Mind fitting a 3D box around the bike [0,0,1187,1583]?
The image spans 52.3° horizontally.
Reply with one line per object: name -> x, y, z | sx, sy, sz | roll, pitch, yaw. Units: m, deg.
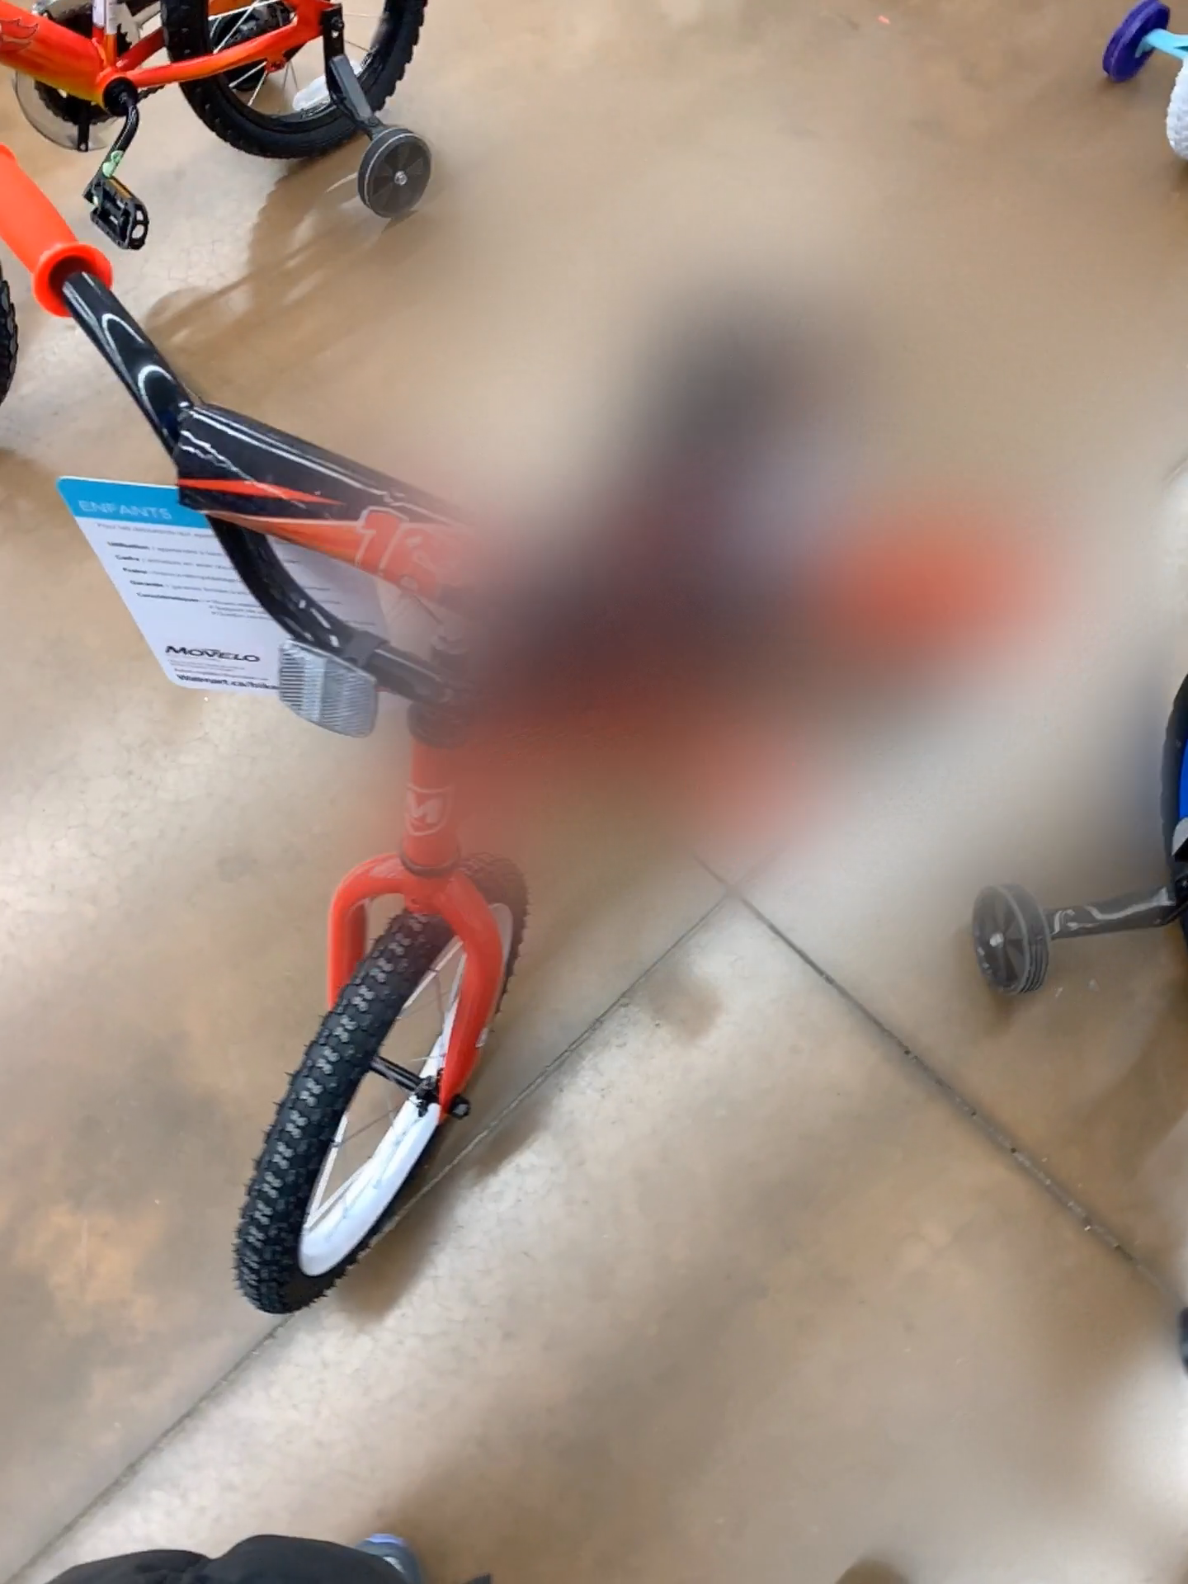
bike -> 0.041, -0.117, 0.940 | 0.585, 0.851, 1.071 | 27, 64, 13
